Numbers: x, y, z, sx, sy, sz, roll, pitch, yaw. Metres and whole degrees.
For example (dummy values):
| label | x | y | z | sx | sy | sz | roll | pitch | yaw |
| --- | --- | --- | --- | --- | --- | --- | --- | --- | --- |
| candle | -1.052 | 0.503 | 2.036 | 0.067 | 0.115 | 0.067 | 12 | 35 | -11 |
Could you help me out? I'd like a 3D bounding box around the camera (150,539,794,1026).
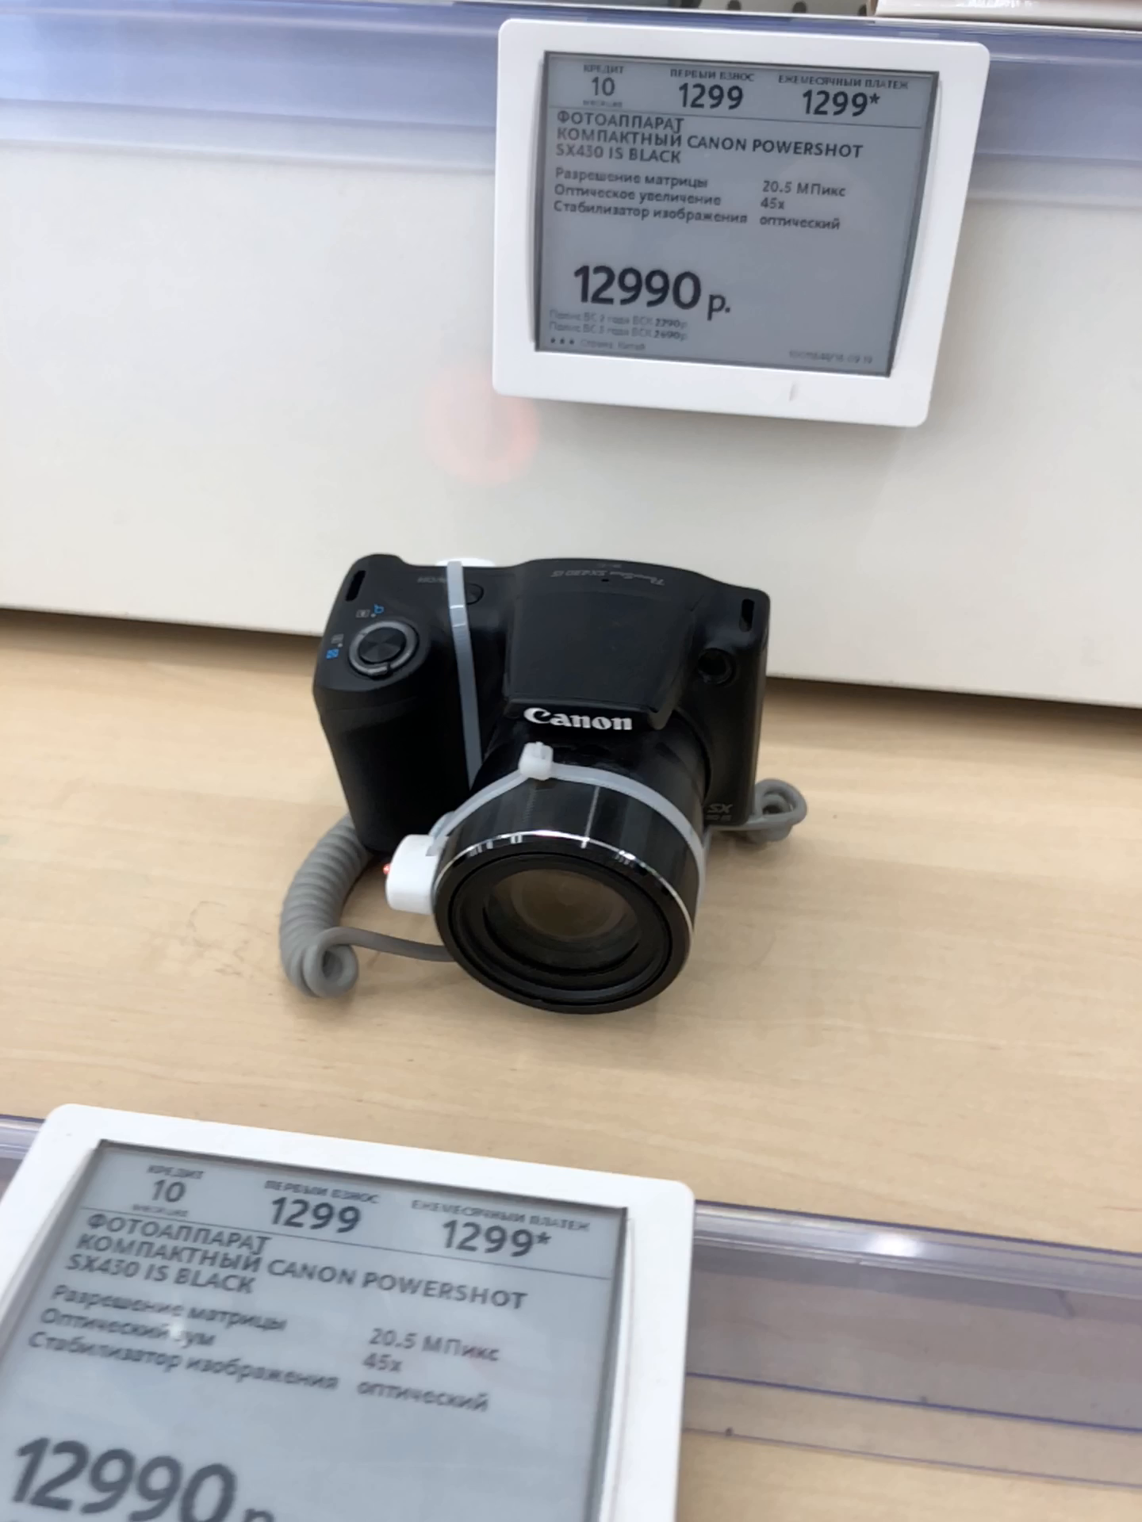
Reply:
| label | x | y | z | sx | sy | sz | roll | pitch | yaw |
| --- | --- | --- | --- | --- | --- | --- | --- | --- | --- |
| camera | -0.016 | 0.000 | 0.284 | 0.116 | 0.062 | 0.093 | 4 | 30 | 2 |
